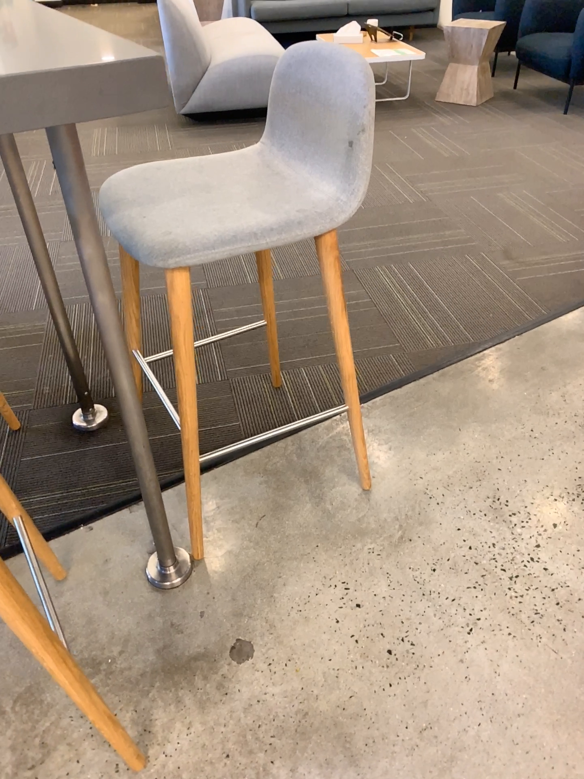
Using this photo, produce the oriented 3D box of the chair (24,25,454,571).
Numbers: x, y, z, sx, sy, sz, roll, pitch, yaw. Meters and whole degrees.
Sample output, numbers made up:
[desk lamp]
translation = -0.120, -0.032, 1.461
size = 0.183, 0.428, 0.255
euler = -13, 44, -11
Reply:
[chair]
translation = -0.124, -0.210, 1.321
size = 0.550, 0.924, 0.593
euler = -19, 42, -21
